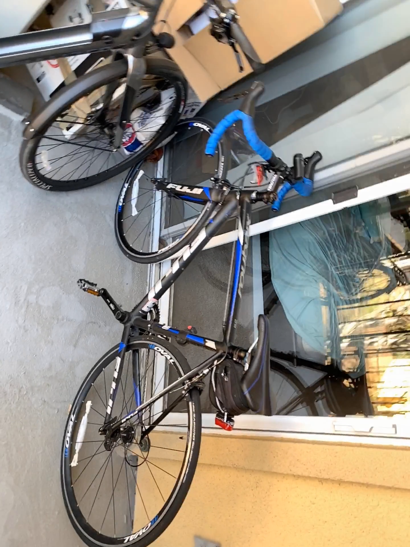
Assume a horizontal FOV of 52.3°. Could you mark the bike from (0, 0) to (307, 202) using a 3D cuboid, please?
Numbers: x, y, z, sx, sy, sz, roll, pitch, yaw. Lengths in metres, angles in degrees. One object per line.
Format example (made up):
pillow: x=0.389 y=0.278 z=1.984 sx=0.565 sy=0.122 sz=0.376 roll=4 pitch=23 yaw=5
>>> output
bike: x=-0.559 y=-0.800 z=1.061 sx=1.595 sy=0.969 sz=0.621 roll=10 pitch=72 yaw=-50

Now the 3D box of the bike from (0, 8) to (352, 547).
bike: x=-0.075 y=0.078 z=1.392 sx=0.365 sy=0.930 sz=1.501 roll=27 pitch=63 yaw=-43
